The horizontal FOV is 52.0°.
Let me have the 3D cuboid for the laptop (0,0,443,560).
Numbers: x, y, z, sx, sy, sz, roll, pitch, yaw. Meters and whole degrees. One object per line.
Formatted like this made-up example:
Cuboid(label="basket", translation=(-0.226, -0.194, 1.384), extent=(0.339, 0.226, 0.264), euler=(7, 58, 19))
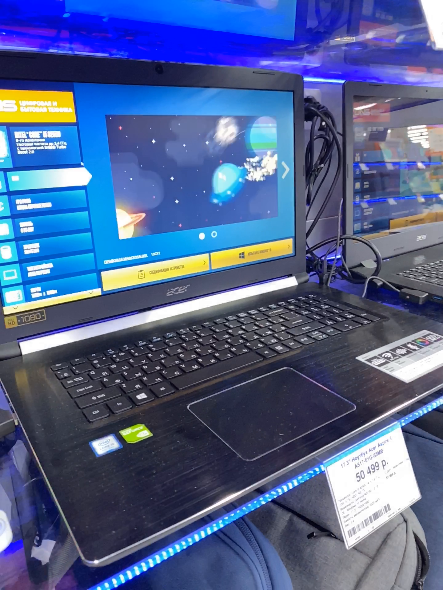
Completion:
Cuboid(label="laptop", translation=(0.020, -0.080, 0.415), extent=(0.424, 0.278, 0.311), euler=(-13, 22, -32))
